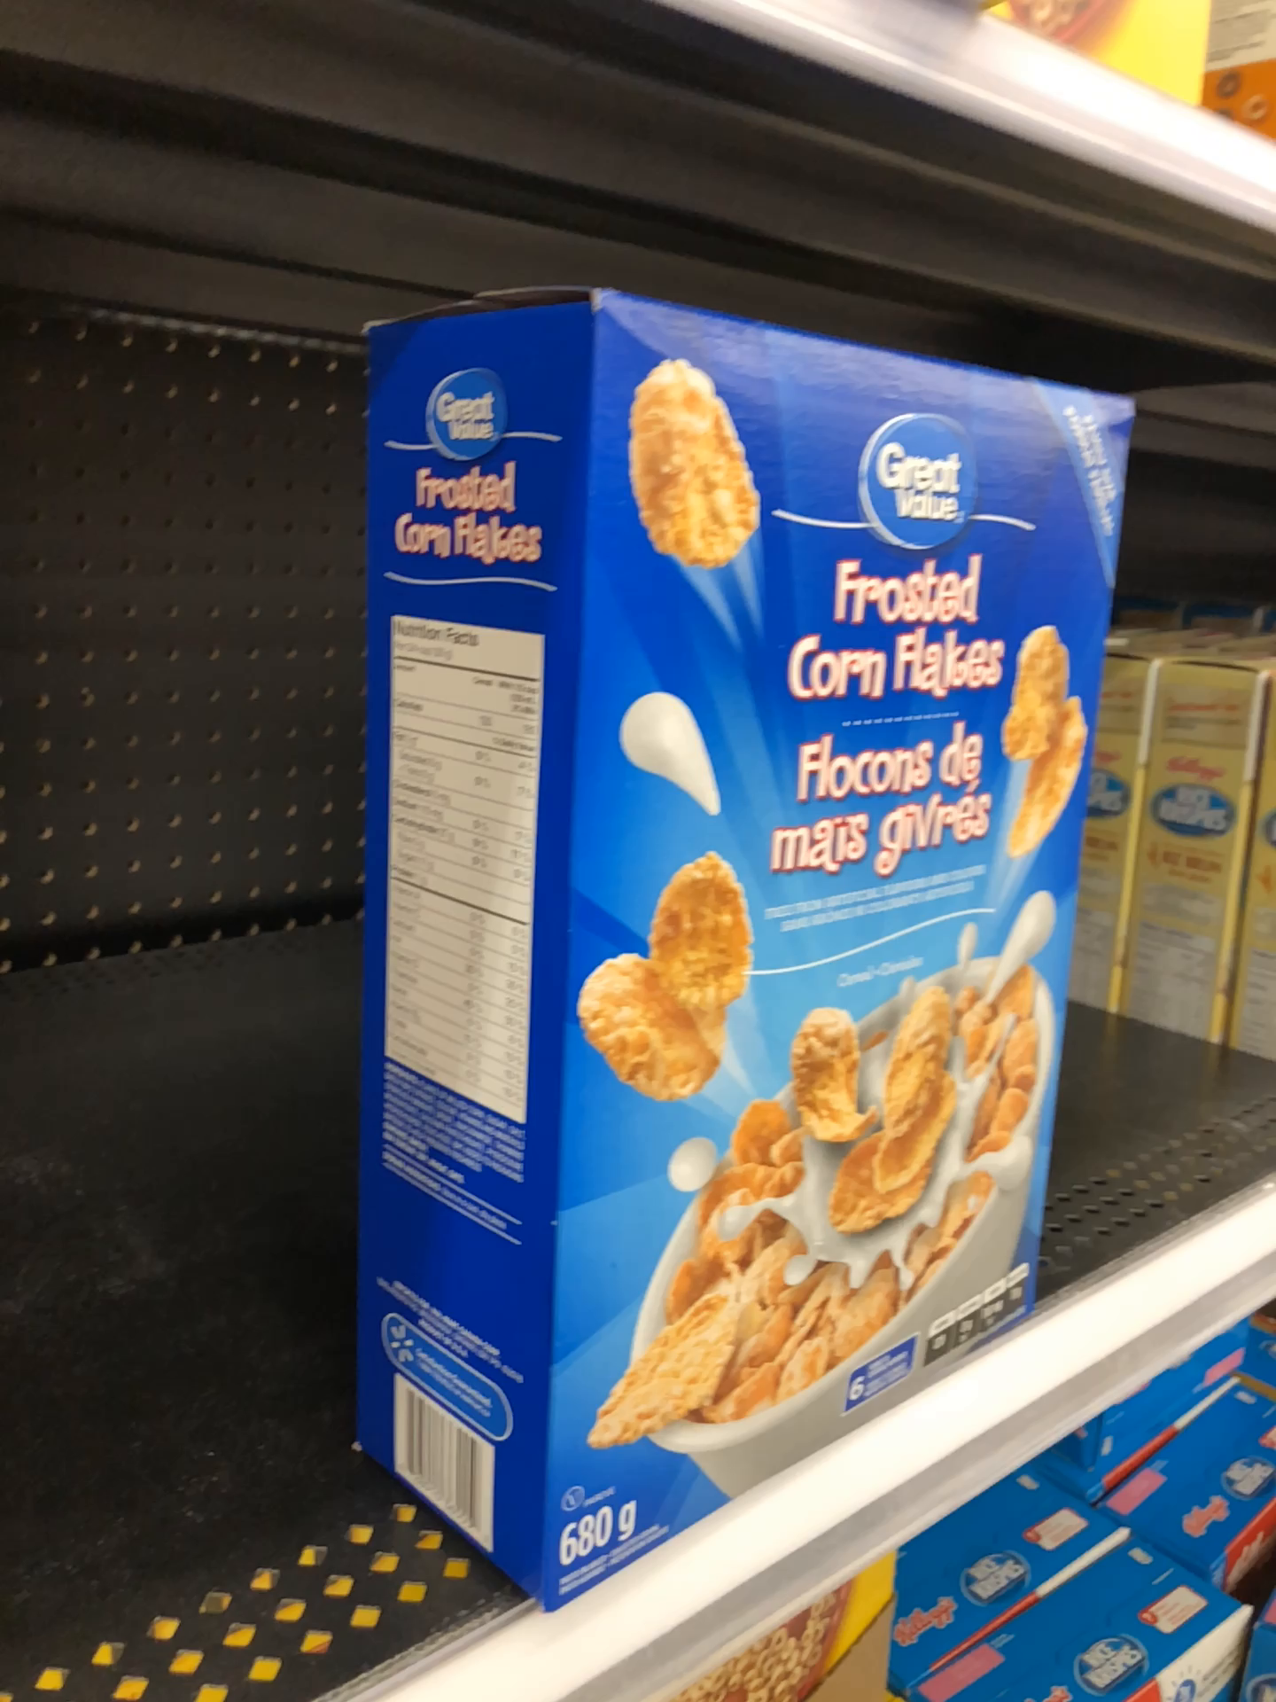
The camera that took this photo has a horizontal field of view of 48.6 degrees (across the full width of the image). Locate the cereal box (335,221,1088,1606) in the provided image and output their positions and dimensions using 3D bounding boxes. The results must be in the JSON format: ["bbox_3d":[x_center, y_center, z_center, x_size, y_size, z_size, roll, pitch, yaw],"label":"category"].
[{"bbox_3d":[0.025,0.008,0.407,0.080,0.309,0.210,13,16,43],"label":"cereal box"}]
